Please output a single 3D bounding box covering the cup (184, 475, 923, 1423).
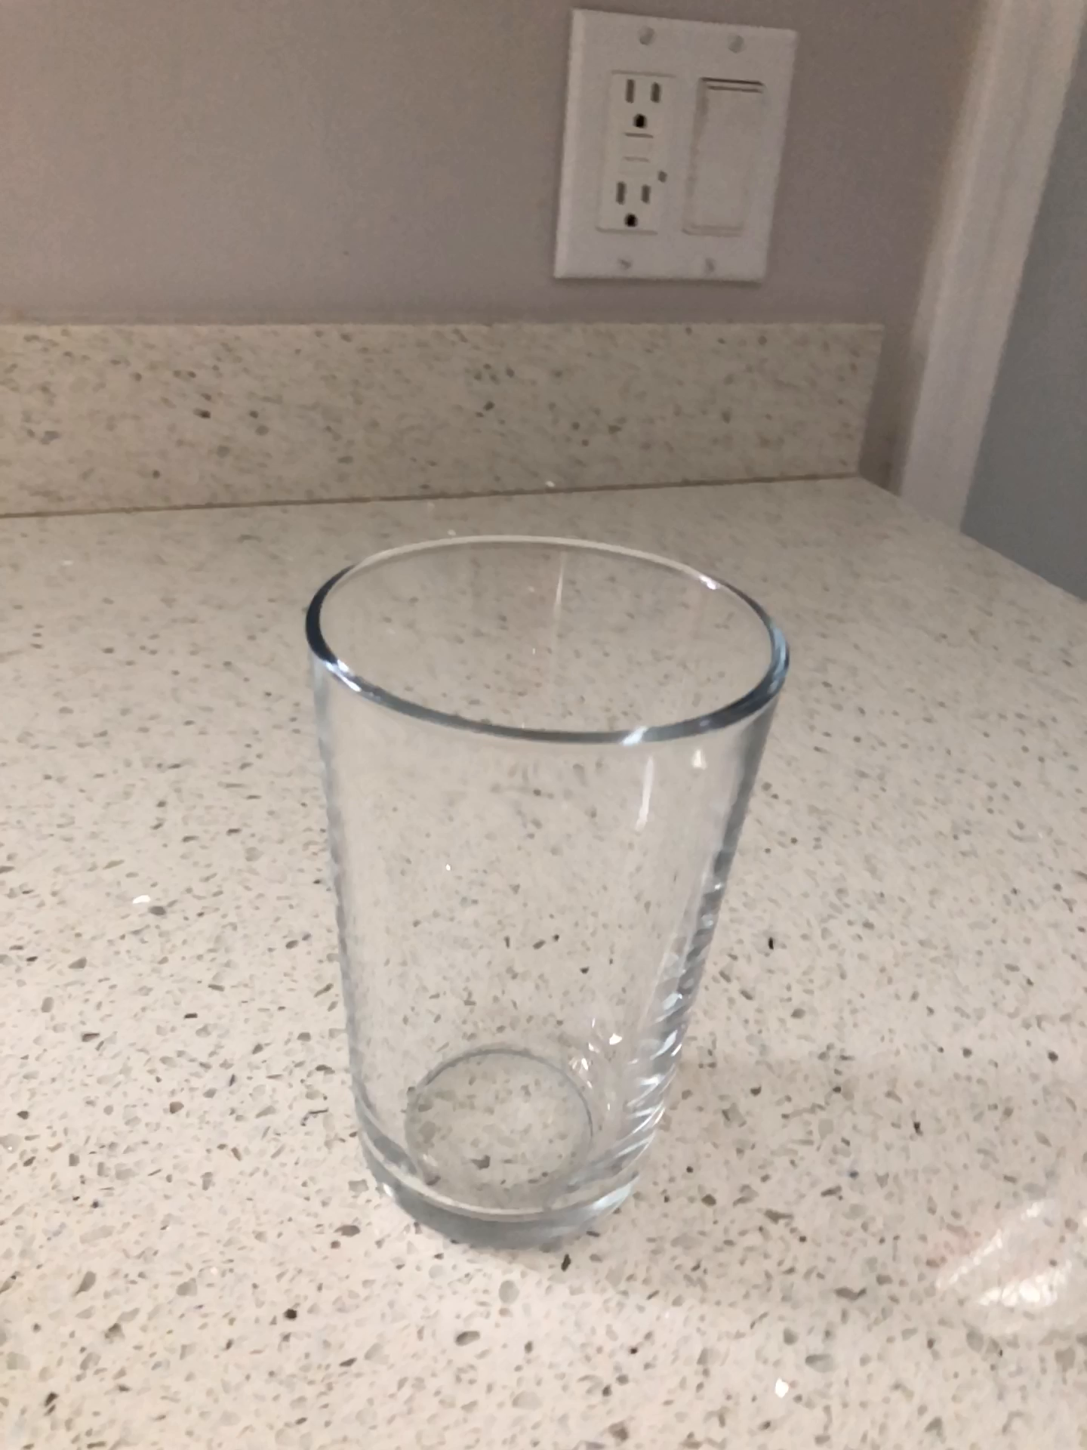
[{"bbox_3d":[0.000,0.030,0.204,0.080,0.114,0.074,3,29,-2],"label":"cup"}]
